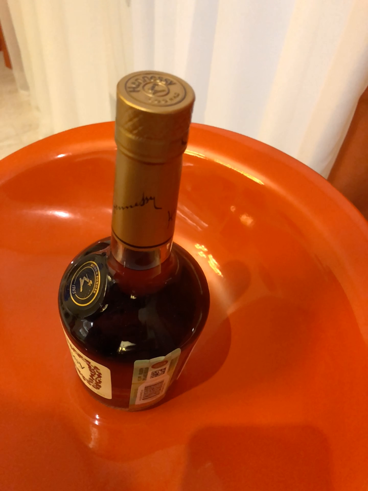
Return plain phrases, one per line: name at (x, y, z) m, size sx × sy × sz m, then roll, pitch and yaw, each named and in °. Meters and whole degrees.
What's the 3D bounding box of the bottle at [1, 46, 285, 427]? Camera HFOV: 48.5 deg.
bottle at (-0.027, 0.022, 0.223) m, size 0.079 × 0.219 × 0.079 m, roll 4°, pitch 51°, yaw -5°
